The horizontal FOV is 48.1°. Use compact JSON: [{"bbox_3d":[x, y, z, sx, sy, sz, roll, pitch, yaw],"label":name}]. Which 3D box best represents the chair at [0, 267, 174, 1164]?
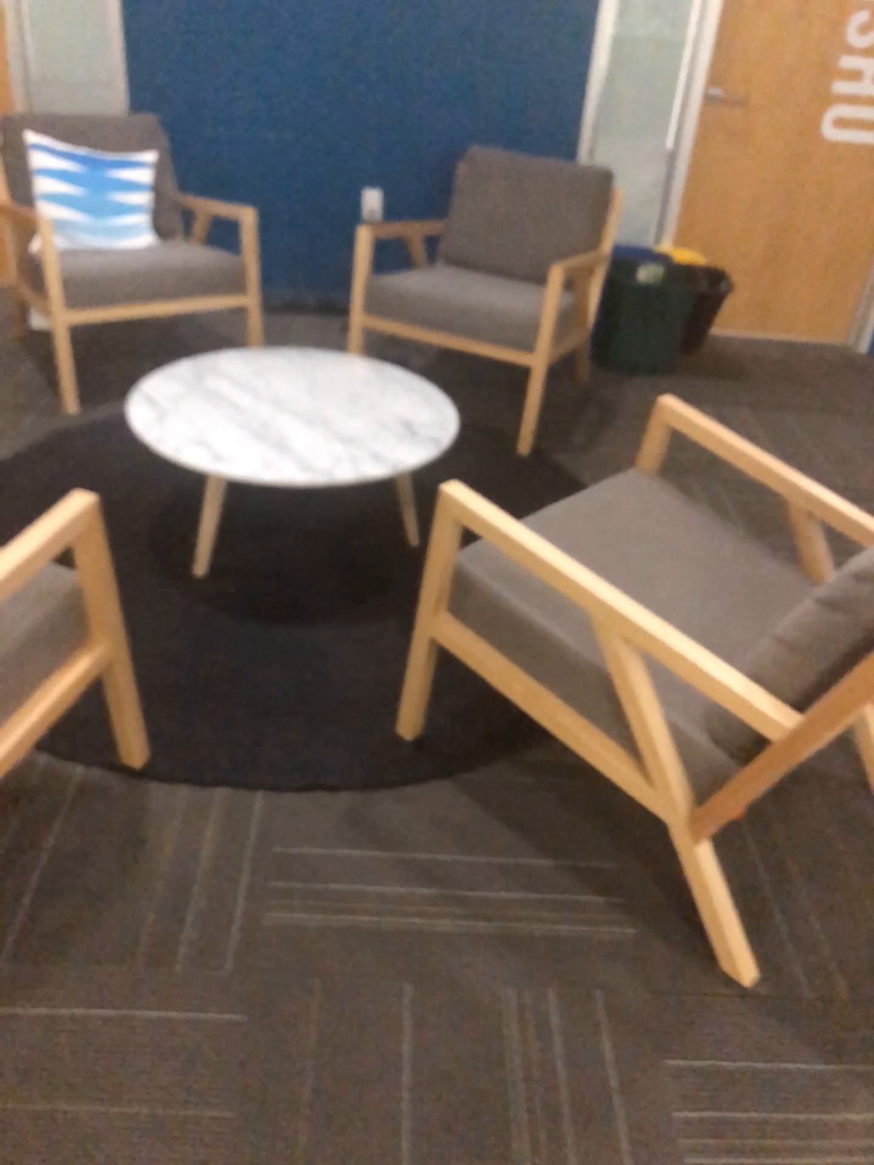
[{"bbox_3d":[-0.936,0.130,1.352,0.720,0.773,0.807,15,37,14],"label":"chair"}]

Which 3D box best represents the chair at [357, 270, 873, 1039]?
[{"bbox_3d":[0.454,0.035,1.687,0.725,0.753,0.872,-26,49,-39],"label":"chair"}]
